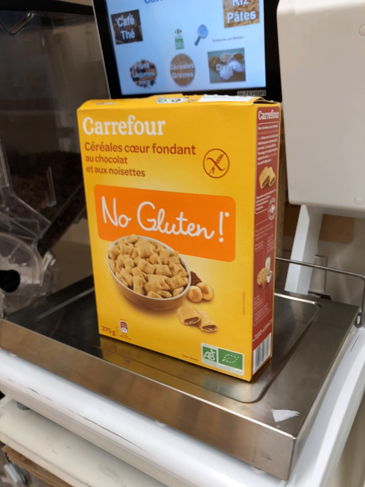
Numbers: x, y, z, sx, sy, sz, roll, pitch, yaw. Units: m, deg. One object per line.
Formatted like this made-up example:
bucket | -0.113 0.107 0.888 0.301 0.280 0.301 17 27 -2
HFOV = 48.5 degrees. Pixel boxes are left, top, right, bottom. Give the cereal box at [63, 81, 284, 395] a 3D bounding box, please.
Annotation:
cereal box | -0.012 -0.012 0.407 0.200 0.269 0.060 10 21 31
